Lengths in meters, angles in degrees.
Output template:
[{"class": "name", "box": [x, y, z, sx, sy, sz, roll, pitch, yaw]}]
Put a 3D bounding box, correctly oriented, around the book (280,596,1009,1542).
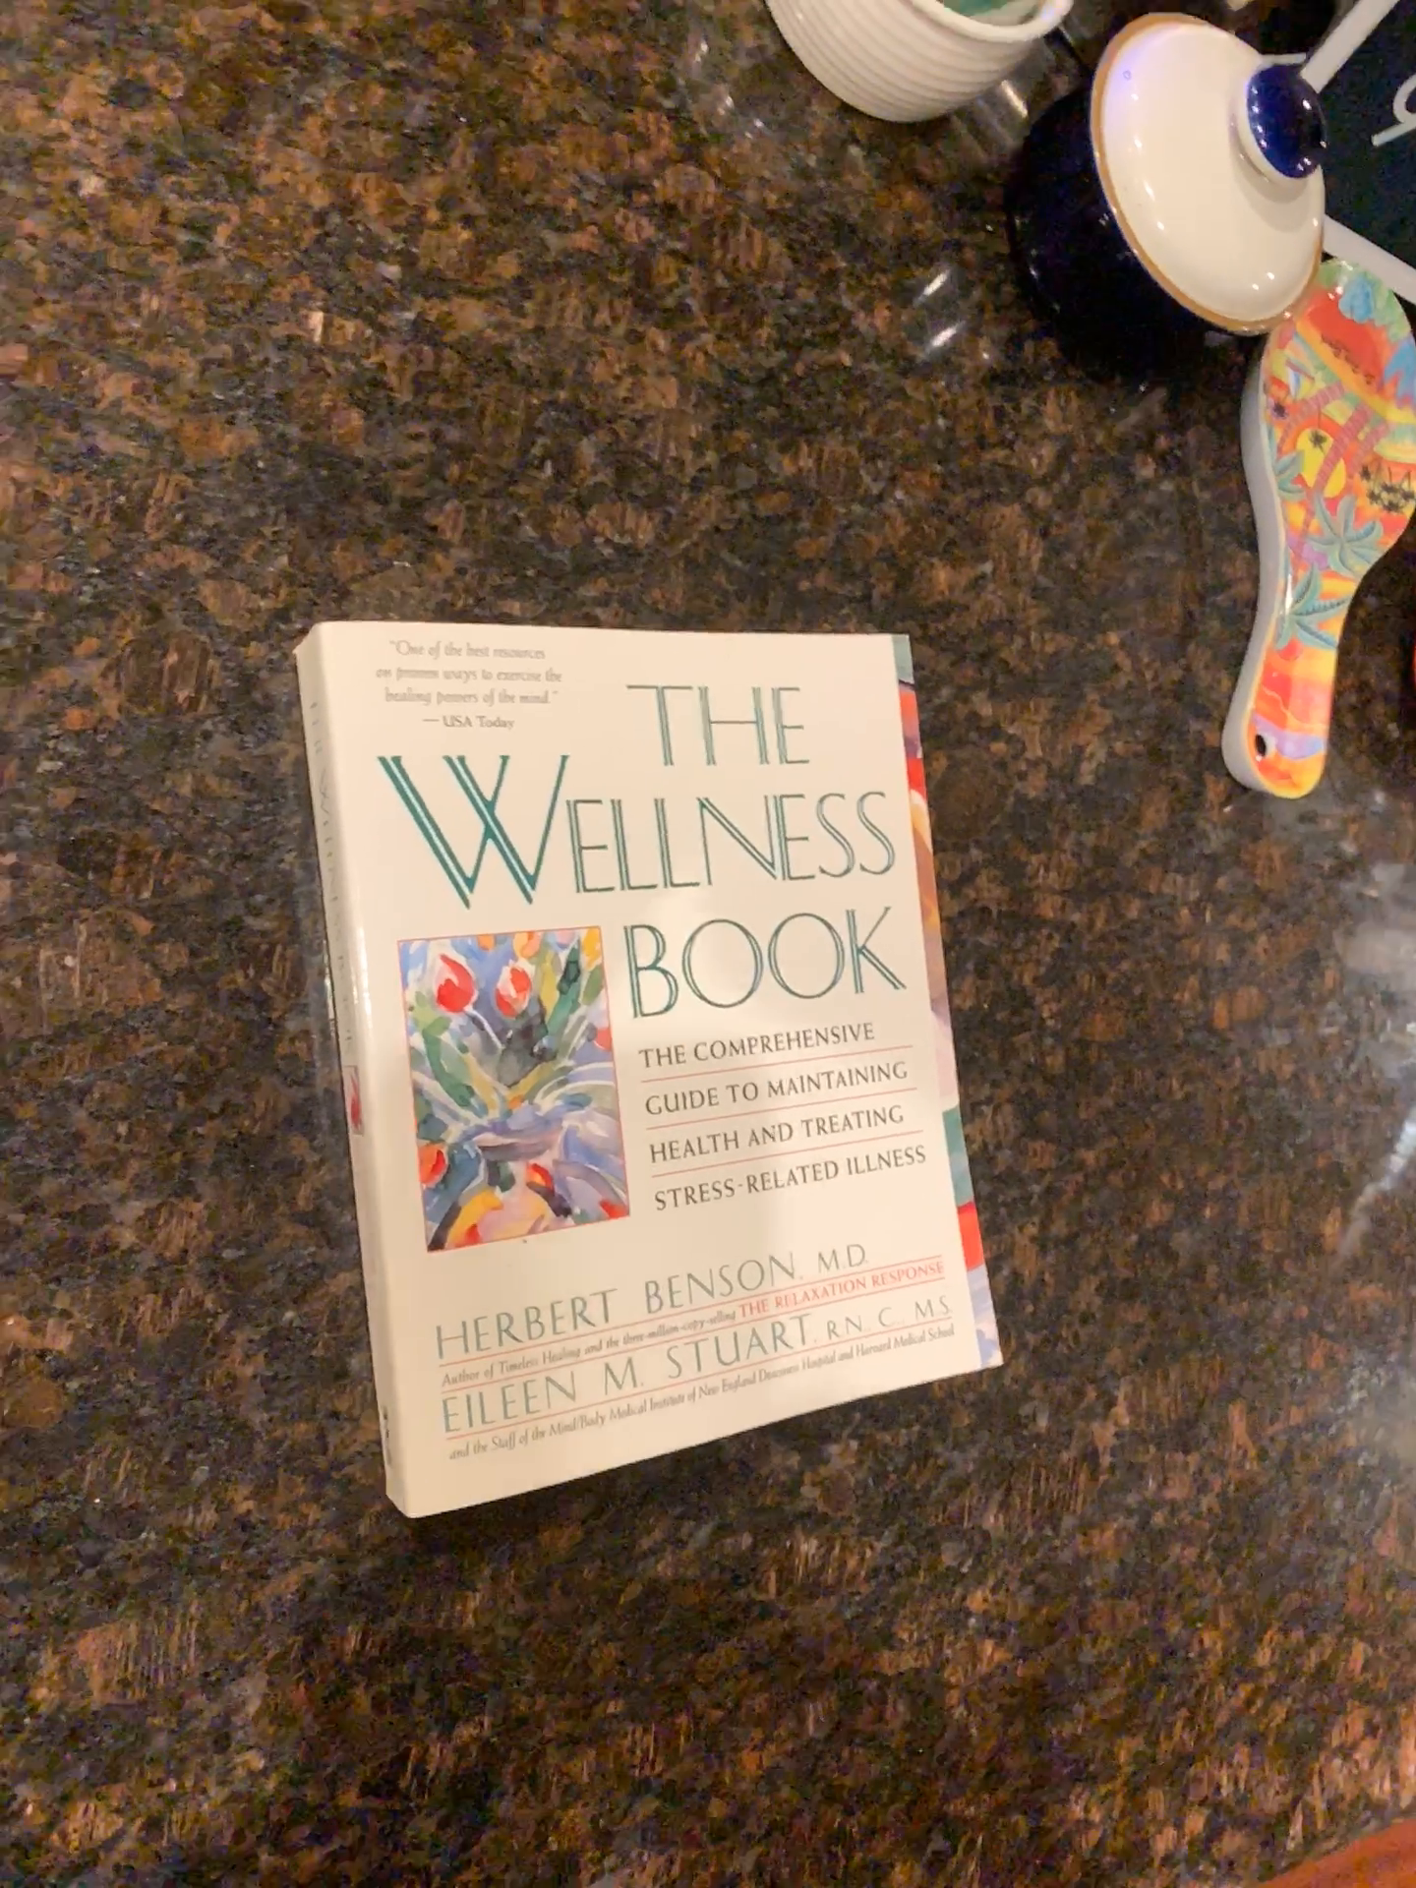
[{"class": "book", "box": [-0.016, 0.026, 0.440, 0.188, 0.060, 0.240, -5, 87, -29]}]
